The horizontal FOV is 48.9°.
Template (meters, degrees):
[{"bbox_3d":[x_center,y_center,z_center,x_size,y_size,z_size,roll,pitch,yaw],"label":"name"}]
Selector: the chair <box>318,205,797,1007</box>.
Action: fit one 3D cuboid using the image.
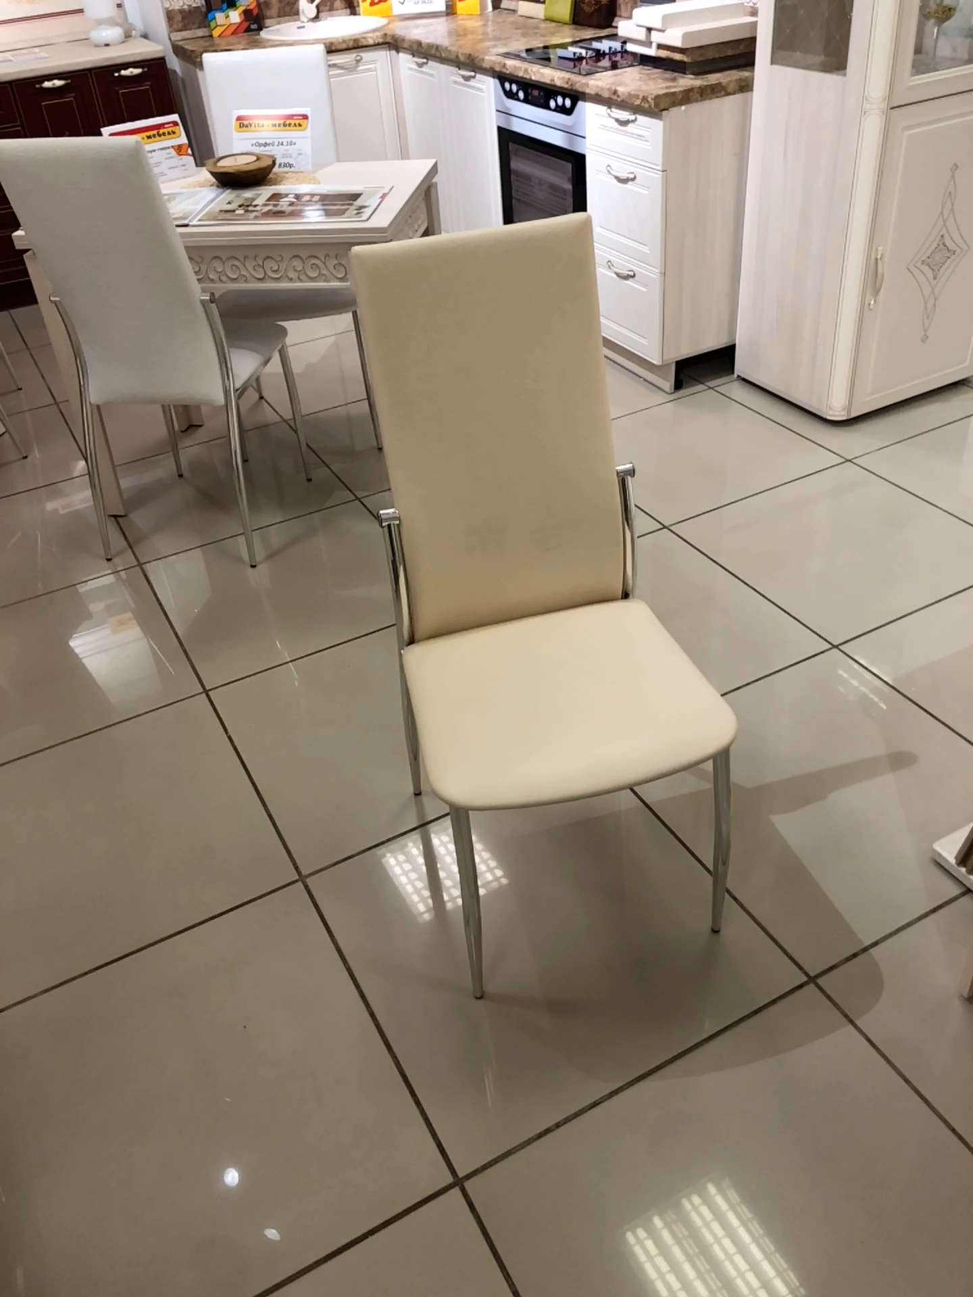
[{"bbox_3d":[0.079,-0.042,1.543,0.430,0.975,0.503,-12,37,-10],"label":"chair"}]
